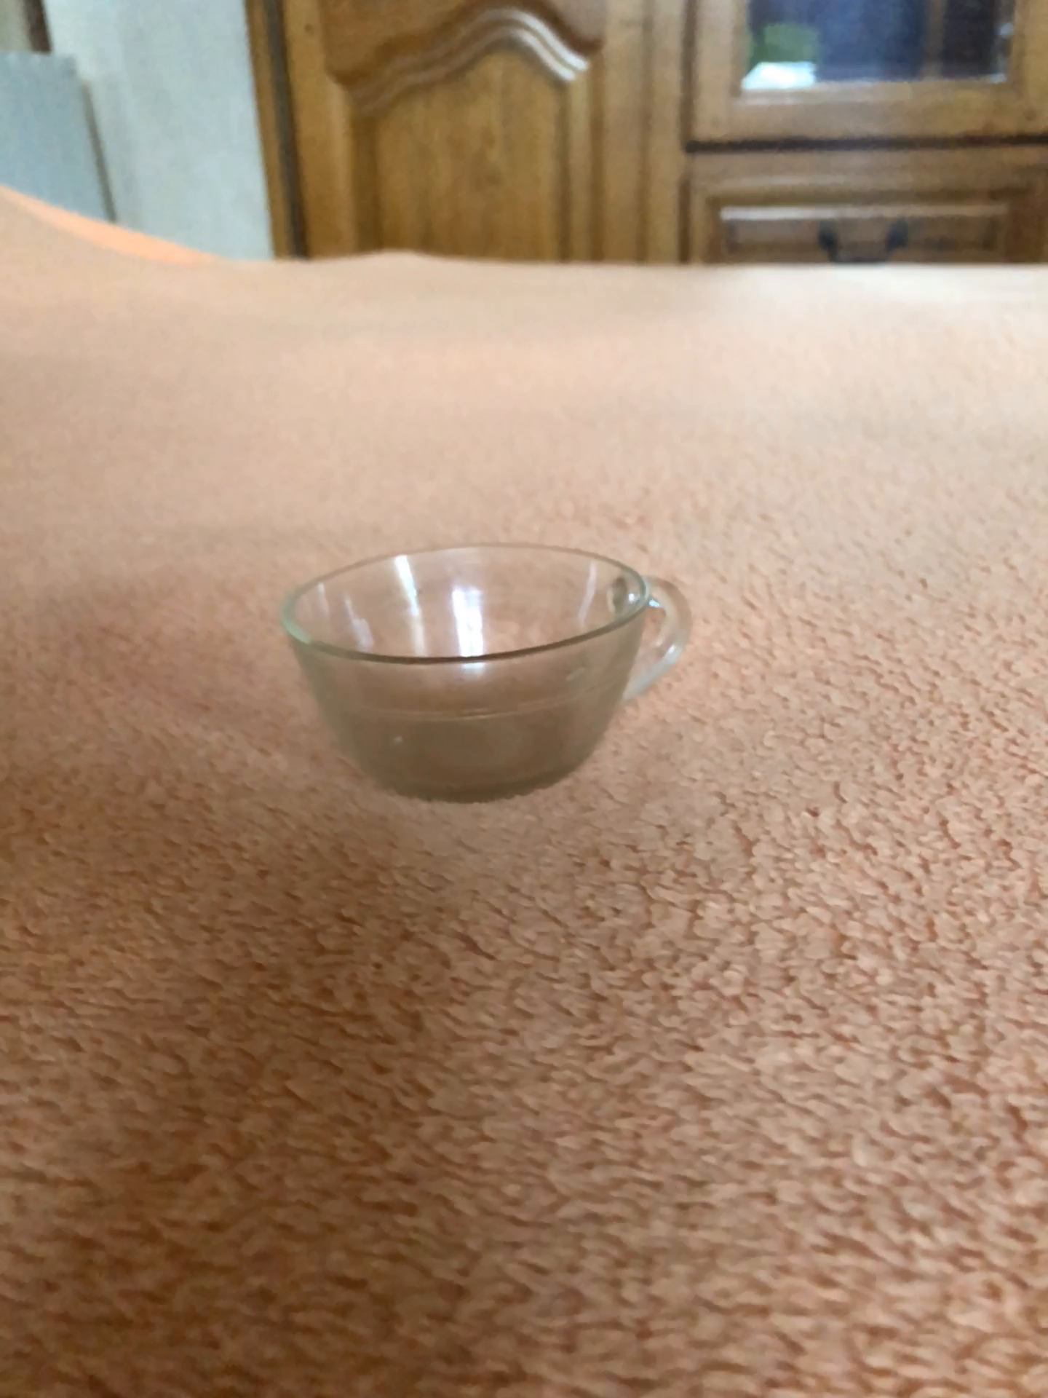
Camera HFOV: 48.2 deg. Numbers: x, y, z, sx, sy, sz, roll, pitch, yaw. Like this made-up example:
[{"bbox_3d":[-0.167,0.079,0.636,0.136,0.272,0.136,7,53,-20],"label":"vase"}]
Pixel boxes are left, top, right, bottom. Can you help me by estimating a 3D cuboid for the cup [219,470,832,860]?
[{"bbox_3d":[-0.002,-0.017,0.276,0.110,0.040,0.090,-16,28,-26],"label":"cup"}]
